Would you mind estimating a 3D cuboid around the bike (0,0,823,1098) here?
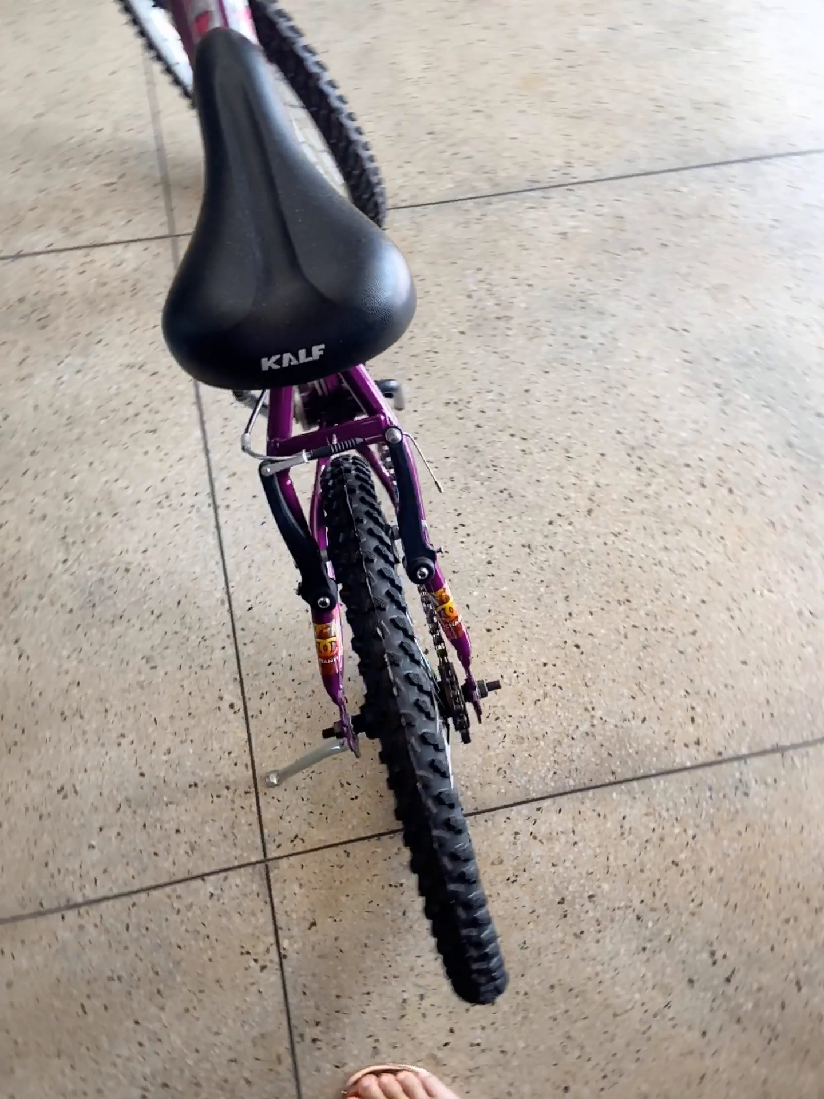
[{"bbox_3d":[-0.169,-0.245,0.738,0.615,0.937,1.263,-18,70,-9],"label":"bike"}]
